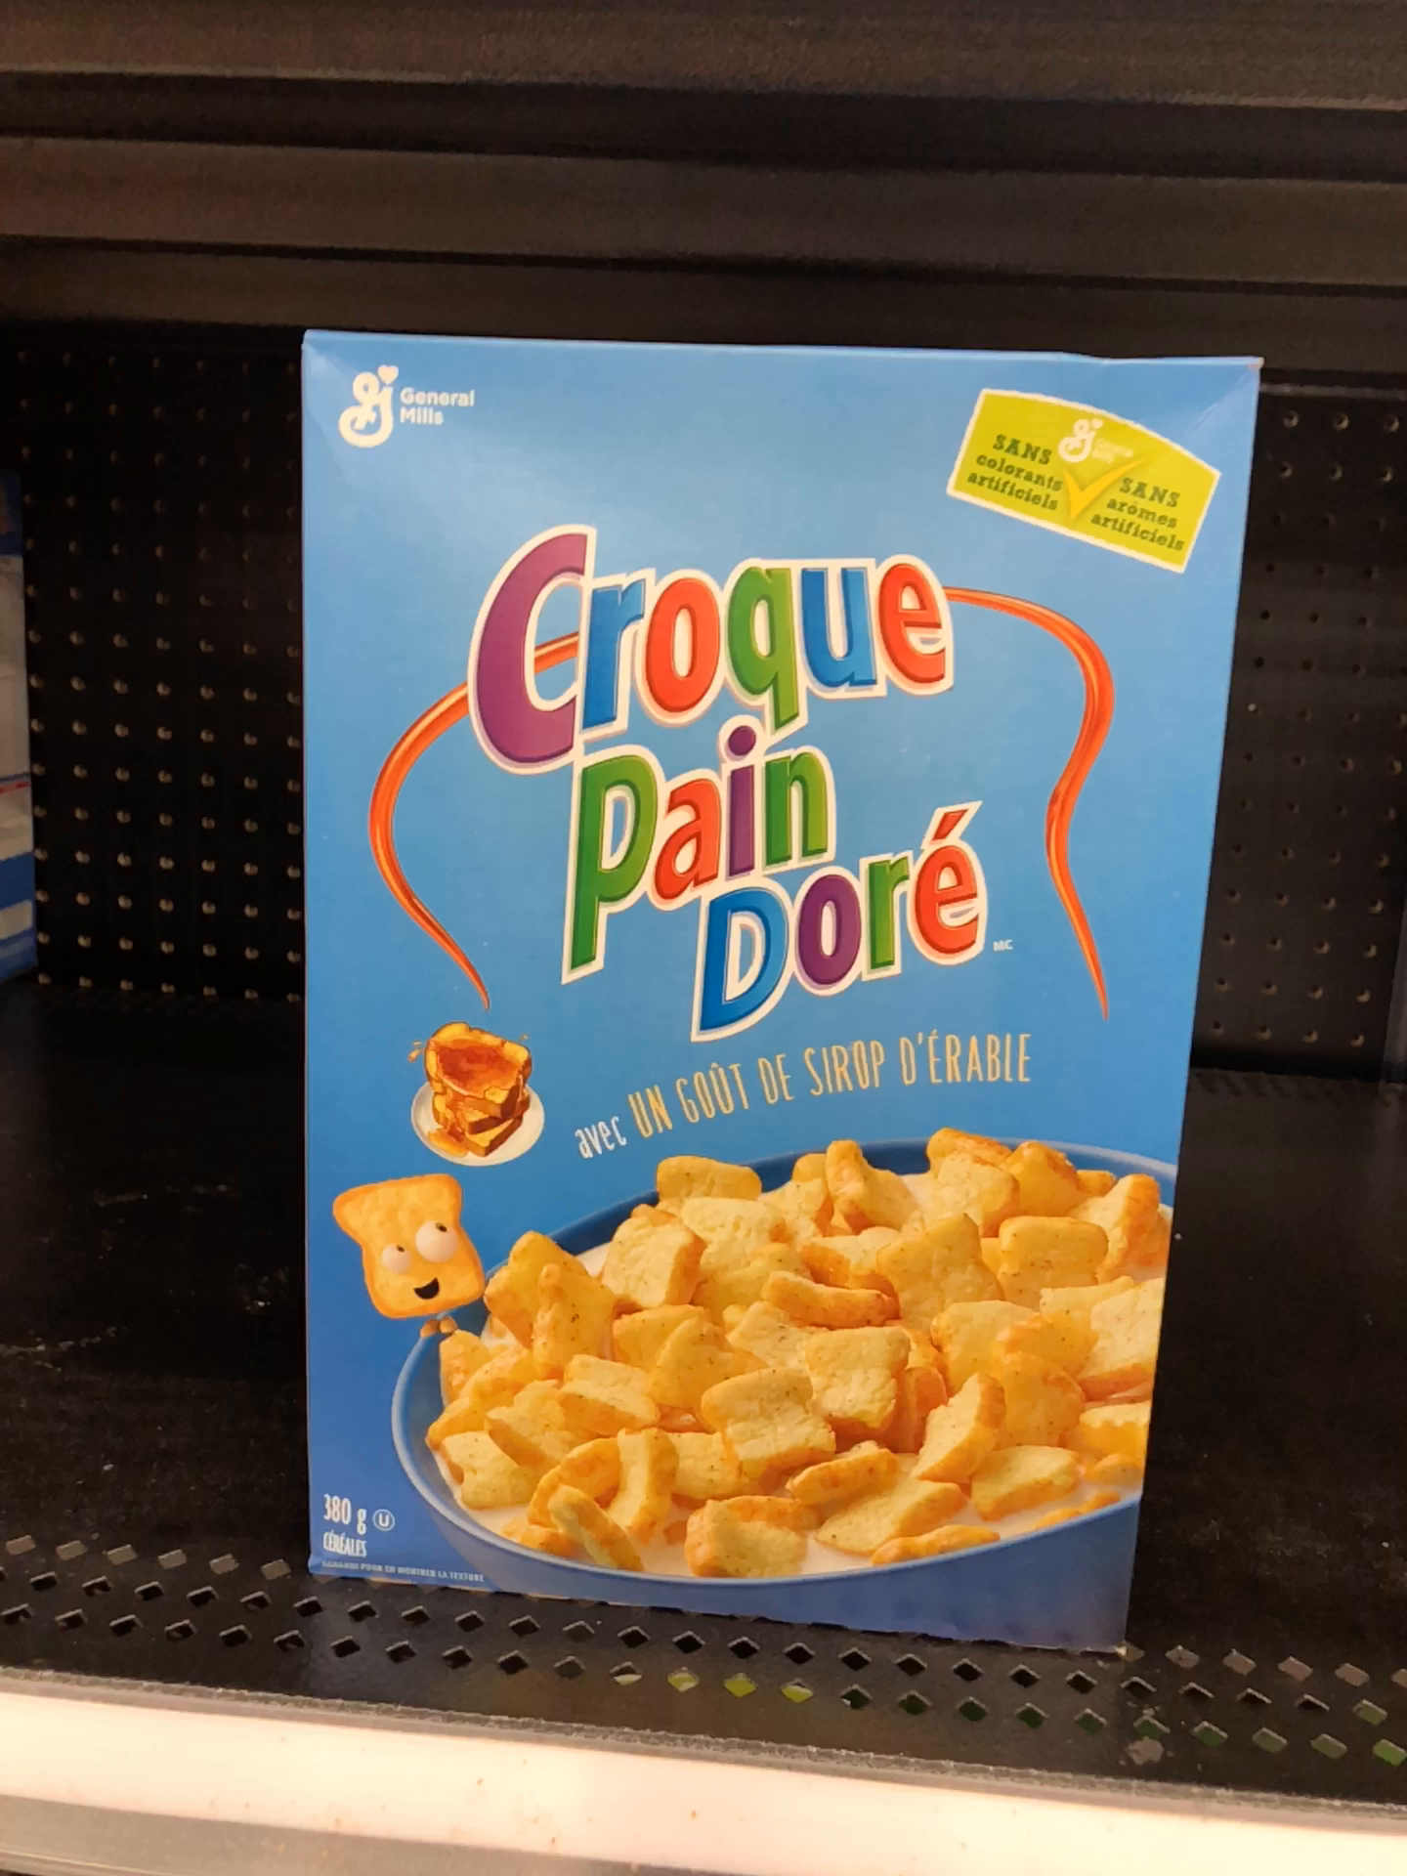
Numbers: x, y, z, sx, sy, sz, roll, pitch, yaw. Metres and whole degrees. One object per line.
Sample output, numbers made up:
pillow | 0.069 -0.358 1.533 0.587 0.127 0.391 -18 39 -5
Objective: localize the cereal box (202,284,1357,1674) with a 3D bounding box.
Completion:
cereal box | 0.007 0.012 0.333 0.210 0.269 0.050 4 11 3
